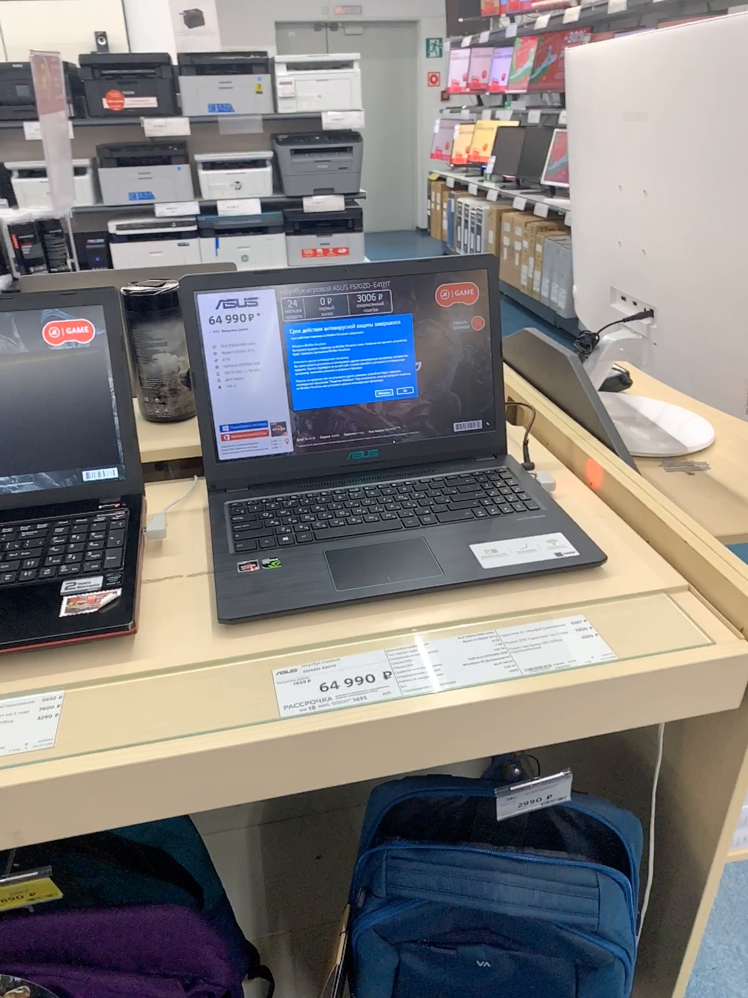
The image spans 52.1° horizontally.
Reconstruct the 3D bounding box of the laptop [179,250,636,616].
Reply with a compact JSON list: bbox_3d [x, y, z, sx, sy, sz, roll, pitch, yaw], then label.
[{"bbox_3d":[0.004,-0.095,0.777,0.358,0.222,0.319,-8,29,-11],"label":"laptop"}]
